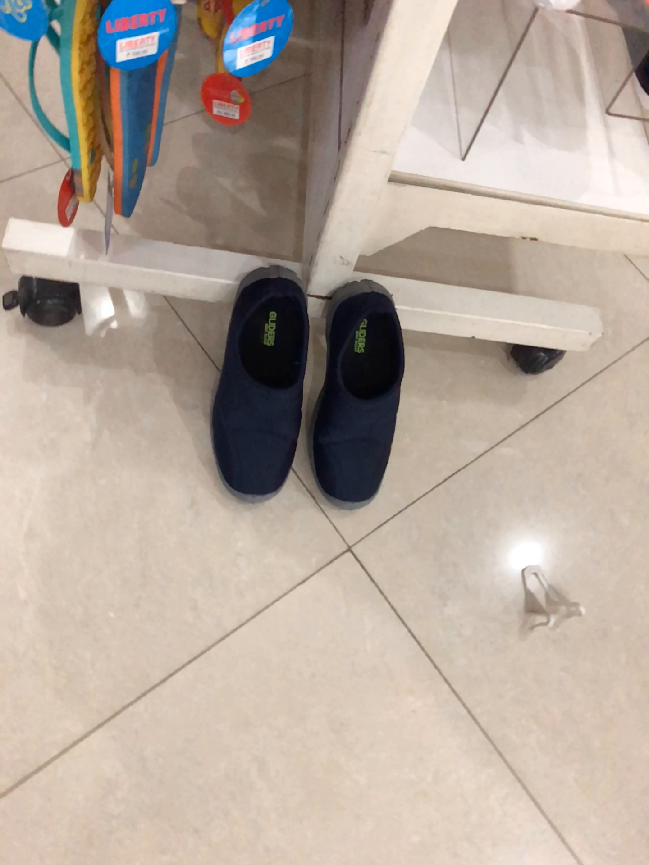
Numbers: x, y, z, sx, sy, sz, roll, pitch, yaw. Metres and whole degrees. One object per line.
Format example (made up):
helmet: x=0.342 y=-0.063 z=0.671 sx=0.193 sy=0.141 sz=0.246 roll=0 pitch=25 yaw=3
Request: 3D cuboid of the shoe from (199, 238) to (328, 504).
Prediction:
shoe: x=-0.071 y=-0.068 z=0.832 sx=0.107 sy=0.064 sz=0.288 roll=8 pitch=81 yaw=-9

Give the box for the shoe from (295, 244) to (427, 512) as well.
shoe: x=0.043 y=-0.060 z=0.843 sx=0.110 sy=0.084 sz=0.288 roll=8 pitch=79 yaw=-9
